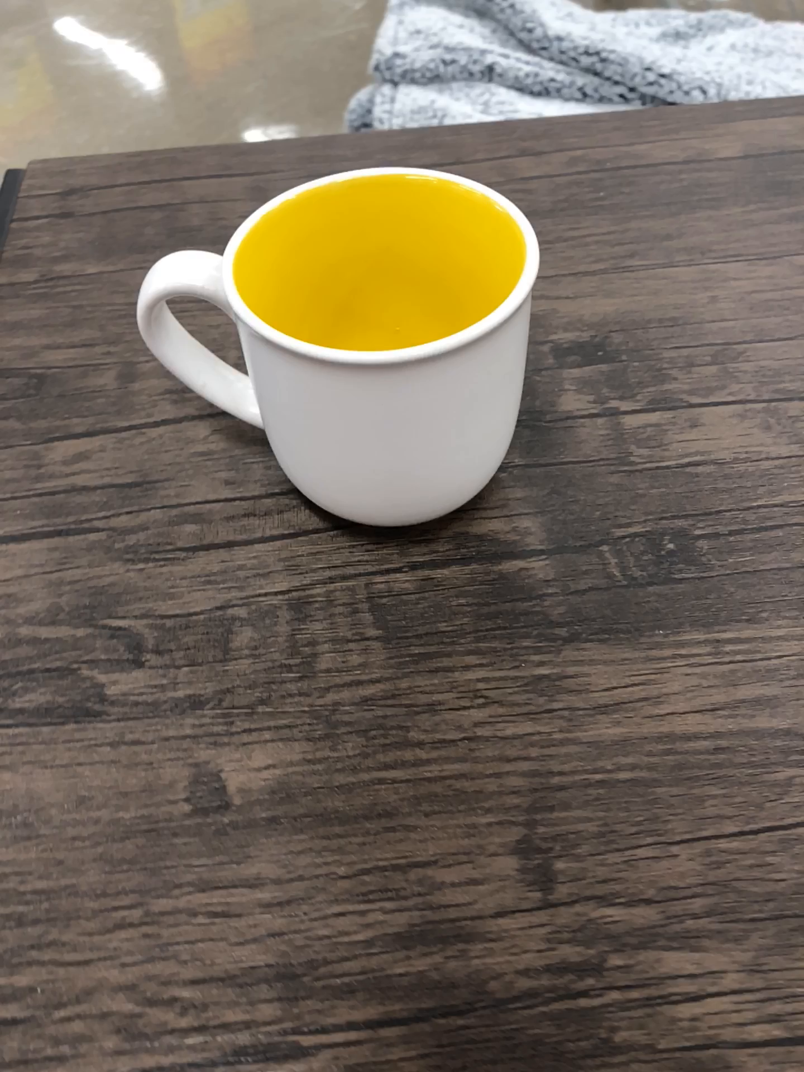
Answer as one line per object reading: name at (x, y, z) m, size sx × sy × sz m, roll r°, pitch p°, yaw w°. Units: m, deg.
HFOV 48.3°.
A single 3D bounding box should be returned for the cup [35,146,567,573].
cup at (-0.021, -0.059, 0.298) m, size 0.140 × 0.090 × 0.100 m, roll 4°, pitch 52°, yaw 5°
